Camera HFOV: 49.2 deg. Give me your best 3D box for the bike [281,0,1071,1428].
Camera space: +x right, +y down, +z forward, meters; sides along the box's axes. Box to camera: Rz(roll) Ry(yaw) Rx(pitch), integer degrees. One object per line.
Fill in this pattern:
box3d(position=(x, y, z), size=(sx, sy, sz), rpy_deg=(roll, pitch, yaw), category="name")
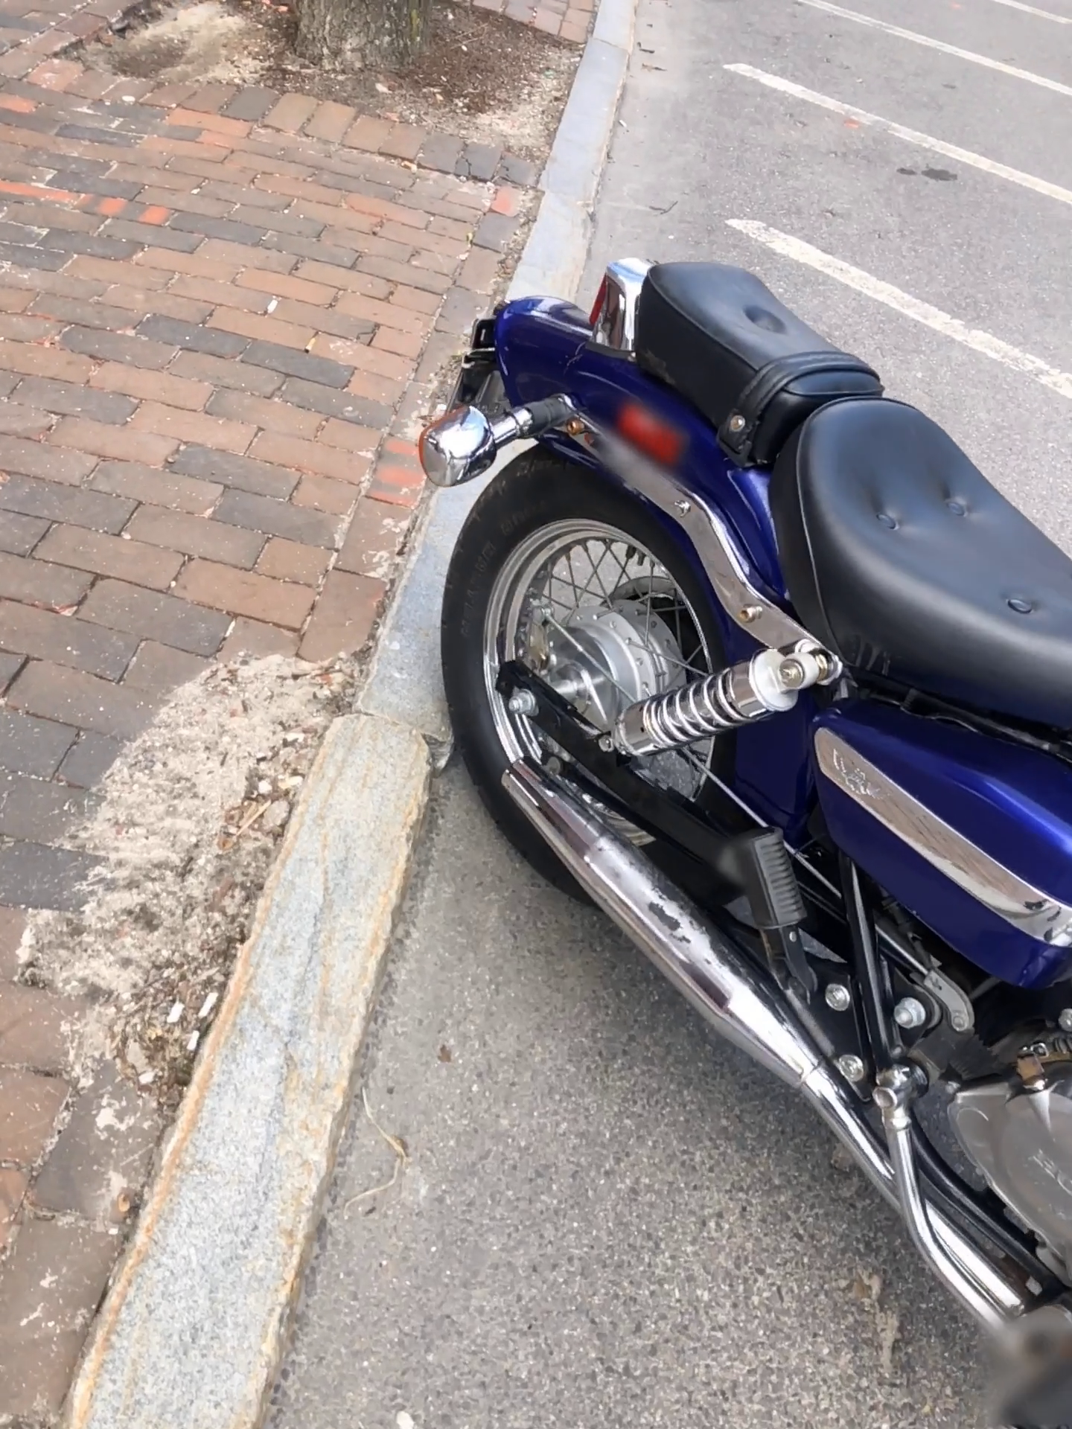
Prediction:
box3d(position=(0.687, 0.072, 0.912), size=(0.791, 1.037, 1.912), rpy_deg=(-26, 50, -33), category="bike")
